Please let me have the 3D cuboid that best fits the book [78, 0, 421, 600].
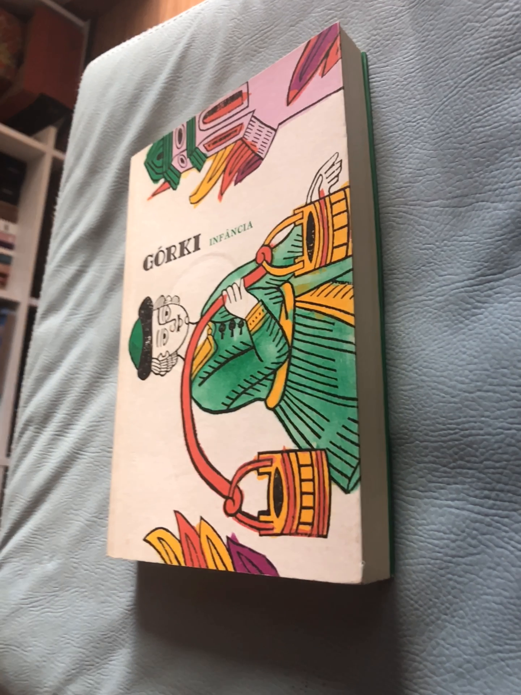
[{"bbox_3d":[-0.014,-0.019,0.224,0.131,0.030,0.200,-14,70,40],"label":"book"}]
